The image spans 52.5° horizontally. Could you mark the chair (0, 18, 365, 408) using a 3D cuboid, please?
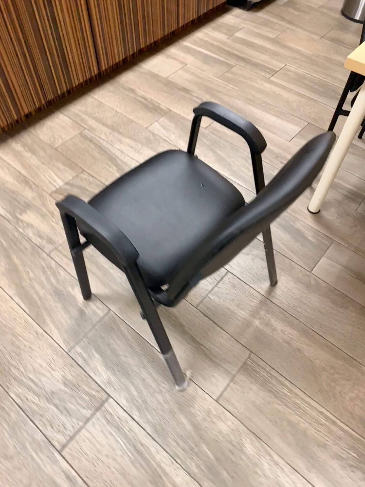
[{"bbox_3d":[0.007,-0.052,1.122,0.625,0.796,0.608,36,62,21],"label":"chair"}]
